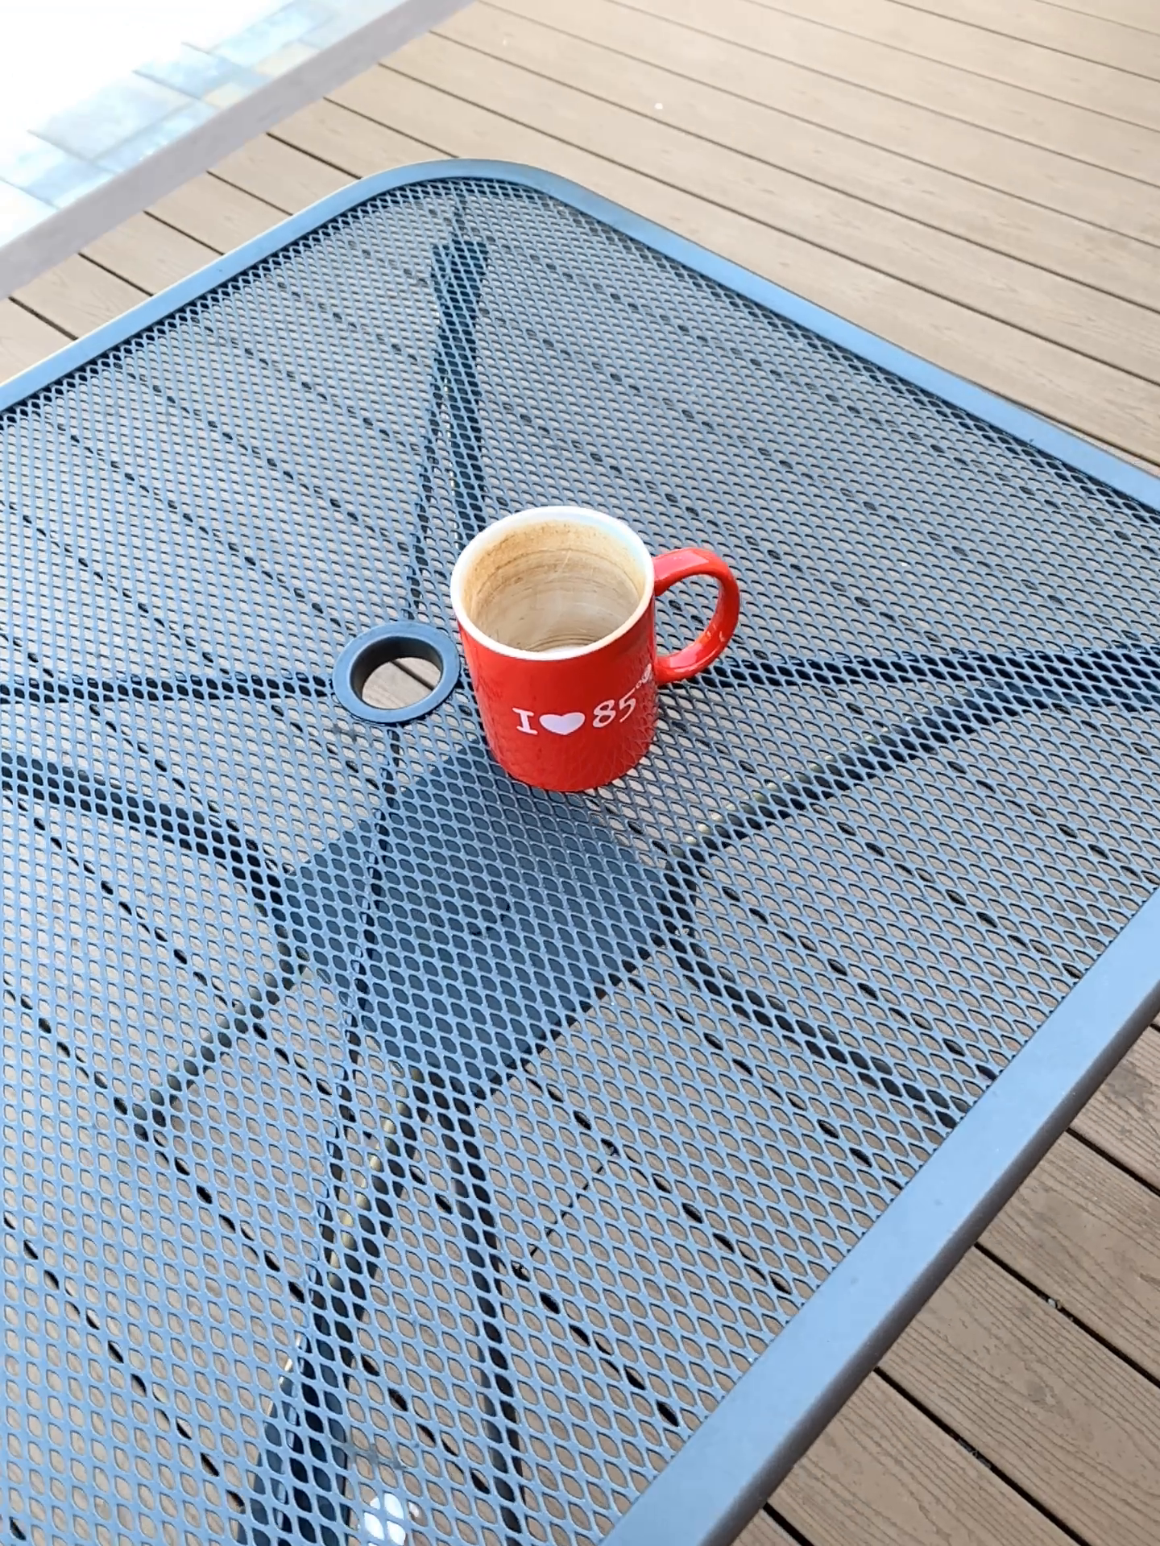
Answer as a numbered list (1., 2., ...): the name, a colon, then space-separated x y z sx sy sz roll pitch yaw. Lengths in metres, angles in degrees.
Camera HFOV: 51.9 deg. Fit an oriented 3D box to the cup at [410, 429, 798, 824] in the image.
1. cup: 0.011 -0.062 0.517 0.130 0.100 0.090 -22 59 -8
